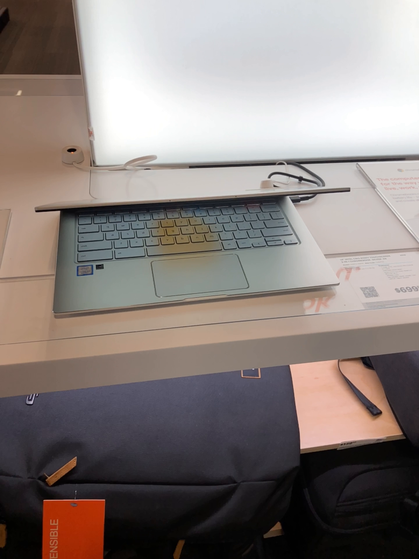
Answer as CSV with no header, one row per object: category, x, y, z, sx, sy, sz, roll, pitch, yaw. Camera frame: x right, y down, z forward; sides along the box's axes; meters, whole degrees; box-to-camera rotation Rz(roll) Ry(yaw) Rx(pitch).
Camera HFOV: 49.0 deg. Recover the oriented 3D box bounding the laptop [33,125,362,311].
laptop,-0.024,-0.083,0.534,0.311,0.102,0.194,-5,42,-9
